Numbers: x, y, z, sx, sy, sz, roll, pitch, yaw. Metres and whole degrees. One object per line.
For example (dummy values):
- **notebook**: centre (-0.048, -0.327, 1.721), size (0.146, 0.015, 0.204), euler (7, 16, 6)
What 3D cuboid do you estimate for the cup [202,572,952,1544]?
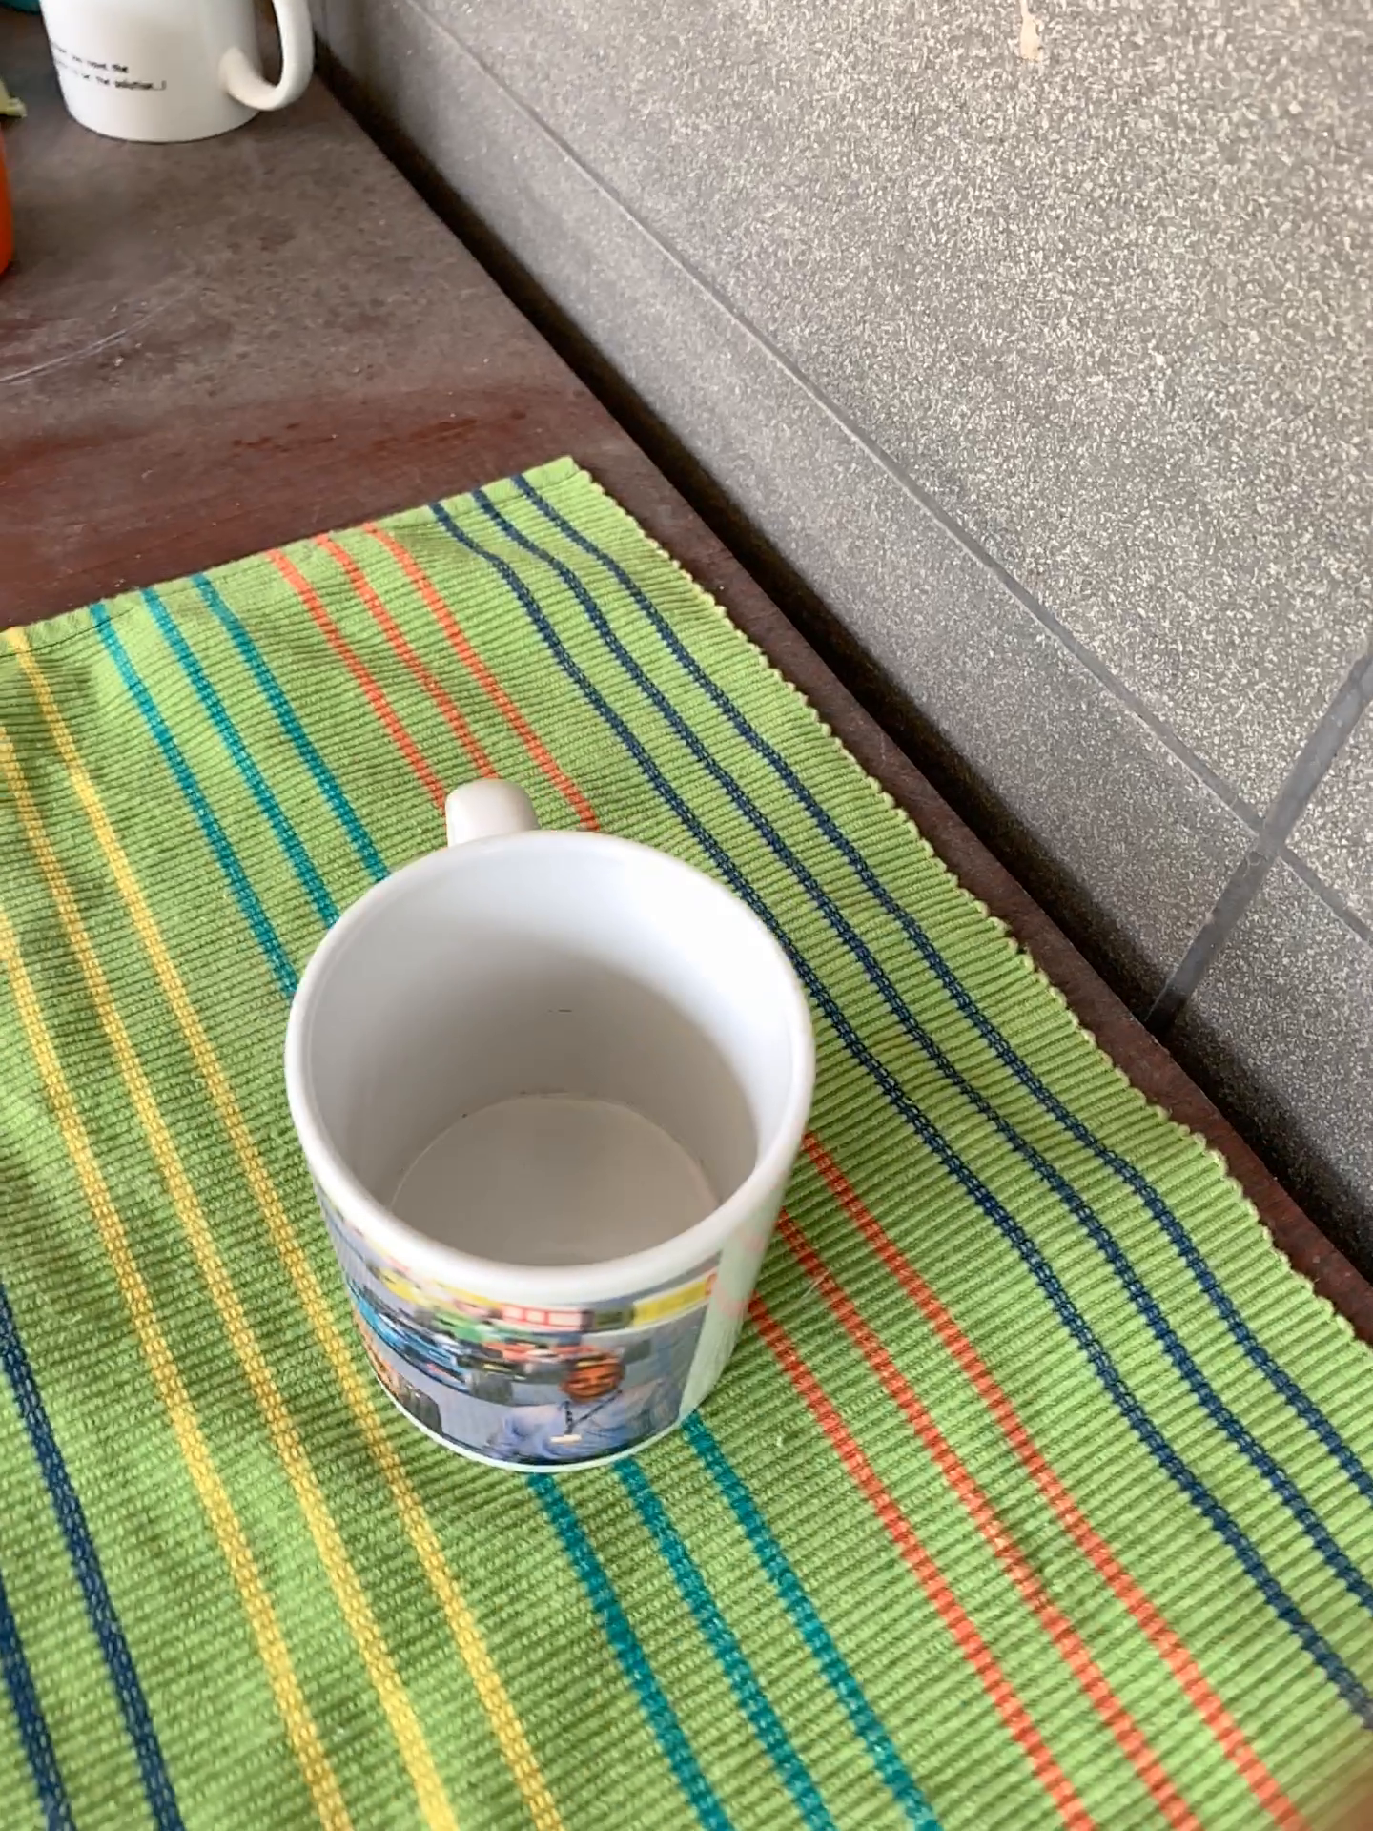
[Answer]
- **cup**: centre (-0.028, 0.025, 0.261), size (0.080, 0.100, 0.130), euler (-14, 57, -16)
